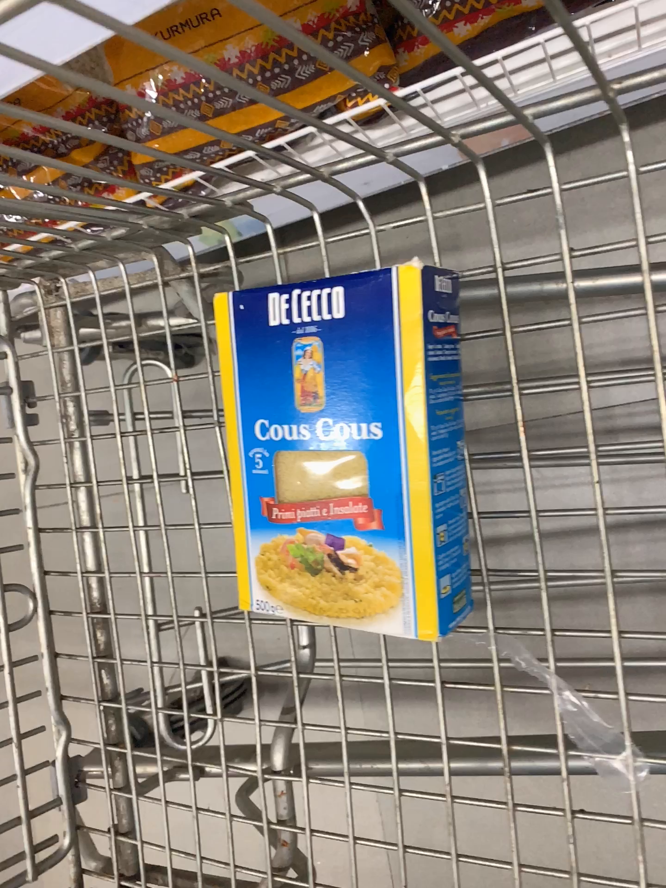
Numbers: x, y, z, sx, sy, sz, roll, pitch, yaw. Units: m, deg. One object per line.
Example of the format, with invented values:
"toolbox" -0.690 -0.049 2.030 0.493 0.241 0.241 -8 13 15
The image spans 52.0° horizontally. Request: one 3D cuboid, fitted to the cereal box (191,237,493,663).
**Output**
"cereal box" 0.003 0.002 0.309 0.121 0.050 0.160 0 95 33
